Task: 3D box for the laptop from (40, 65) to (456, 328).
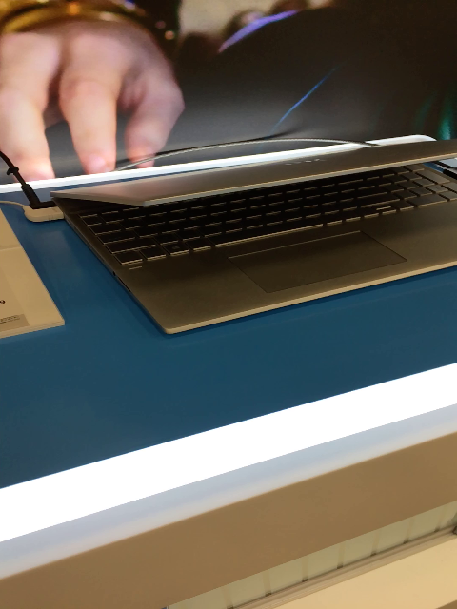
[{"bbox_3d":[0.063,-0.119,0.533,0.365,0.105,0.241,-15,39,-21],"label":"laptop"}]
